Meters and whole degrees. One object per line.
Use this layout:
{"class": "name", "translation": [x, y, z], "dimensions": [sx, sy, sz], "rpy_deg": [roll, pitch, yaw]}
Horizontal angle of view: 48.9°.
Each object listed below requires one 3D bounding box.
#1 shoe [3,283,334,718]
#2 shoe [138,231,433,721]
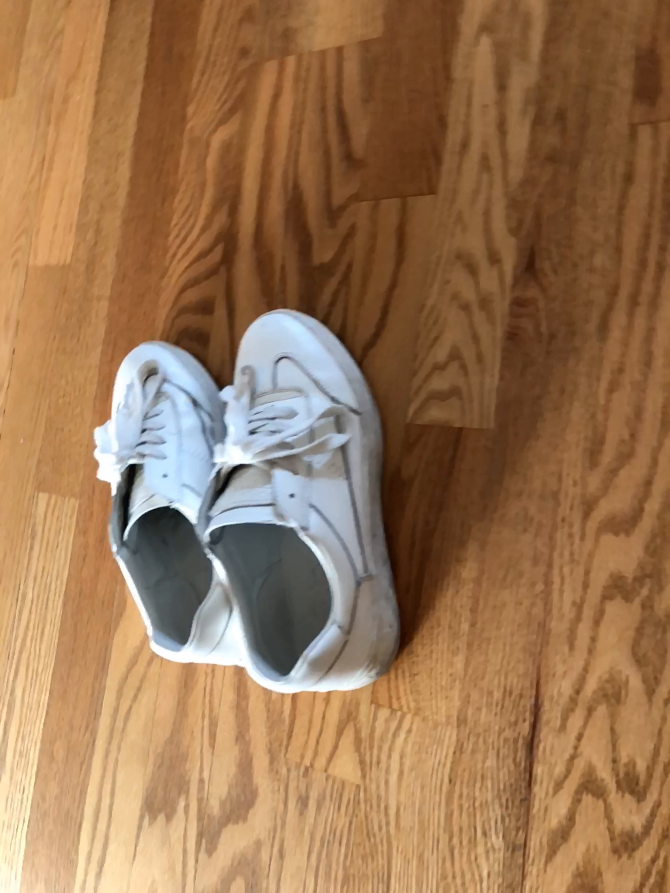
{"class": "shoe", "translation": [-0.121, 0.032, 0.512], "dimensions": [0.103, 0.104, 0.260], "rpy_deg": [-35, 67, 21]}
{"class": "shoe", "translation": [-0.033, 0.021, 0.461], "dimensions": [0.103, 0.106, 0.260], "rpy_deg": [-17, 75, 27]}
